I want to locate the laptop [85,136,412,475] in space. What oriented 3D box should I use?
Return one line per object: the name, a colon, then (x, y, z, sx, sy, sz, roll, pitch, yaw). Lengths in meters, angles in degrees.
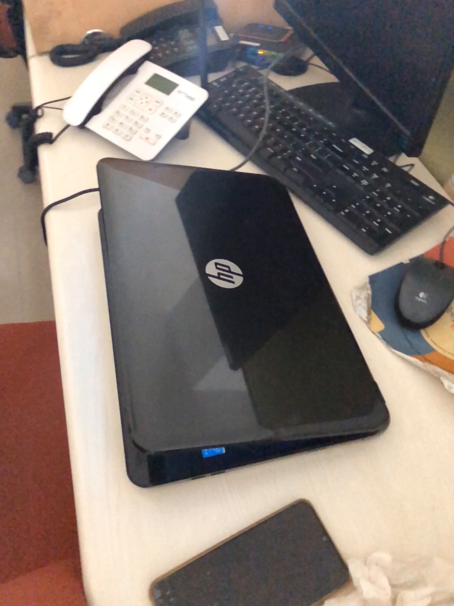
laptop: (-0.008, -0.028, 0.528, 0.245, 0.072, 0.352, -10, 54, -8)
